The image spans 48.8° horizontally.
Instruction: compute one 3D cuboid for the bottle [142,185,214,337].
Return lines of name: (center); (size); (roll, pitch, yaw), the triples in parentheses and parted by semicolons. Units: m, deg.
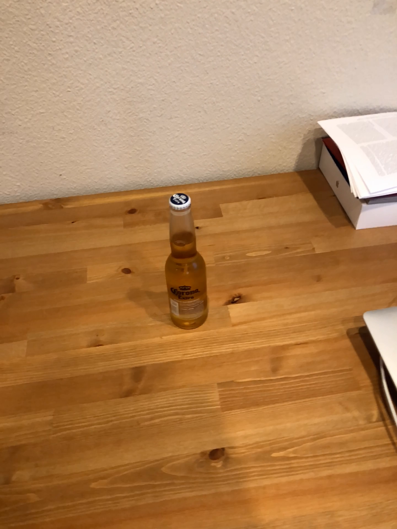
bottle: (-0.023, 0.003, 0.649); (0.070, 0.229, 0.070); (-2, 44, 2)
